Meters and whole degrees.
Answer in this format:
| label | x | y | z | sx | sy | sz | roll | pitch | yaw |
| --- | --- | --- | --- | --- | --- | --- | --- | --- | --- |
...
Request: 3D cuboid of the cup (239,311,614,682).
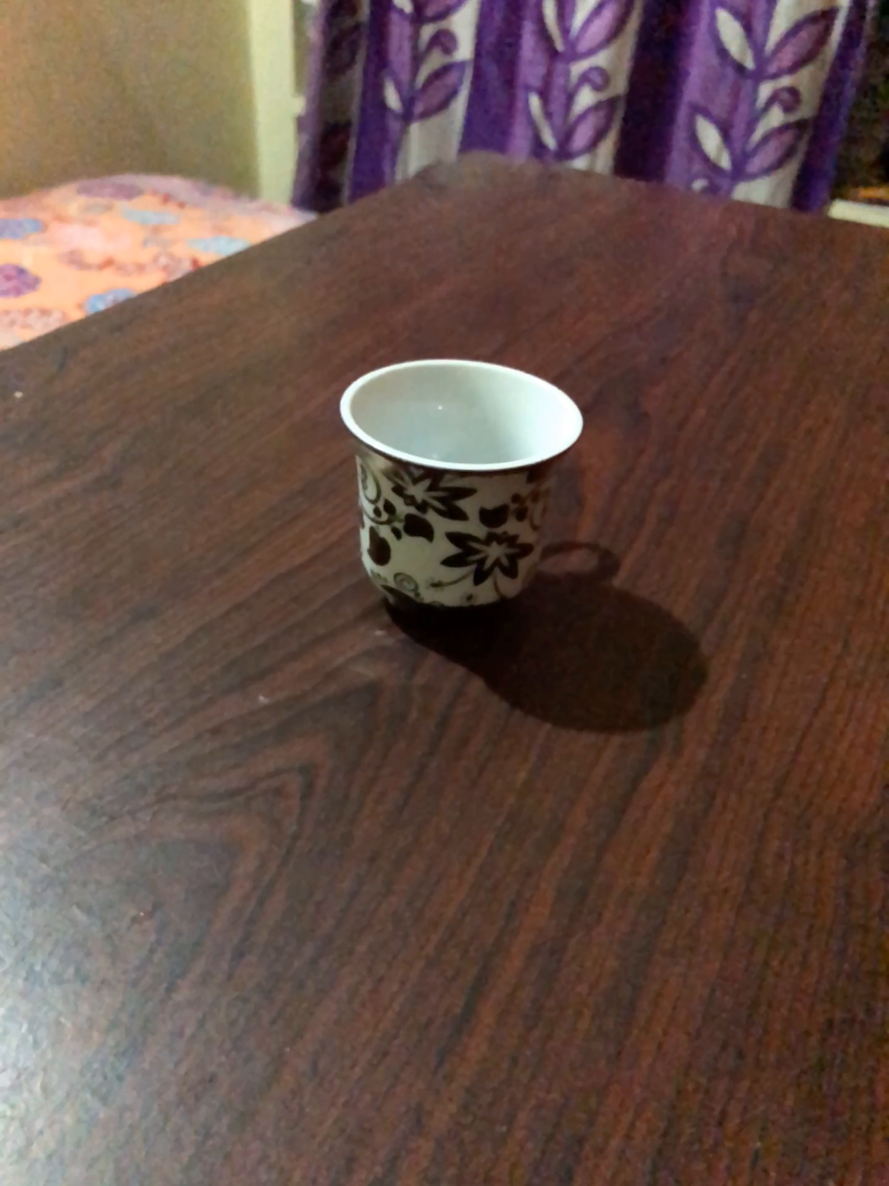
| label | x | y | z | sx | sy | sz | roll | pitch | yaw |
| --- | --- | --- | --- | --- | --- | --- | --- | --- | --- |
| cup | -0.001 | -0.031 | 0.271 | 0.070 | 0.050 | 0.091 | 14 | 37 | 13 |
